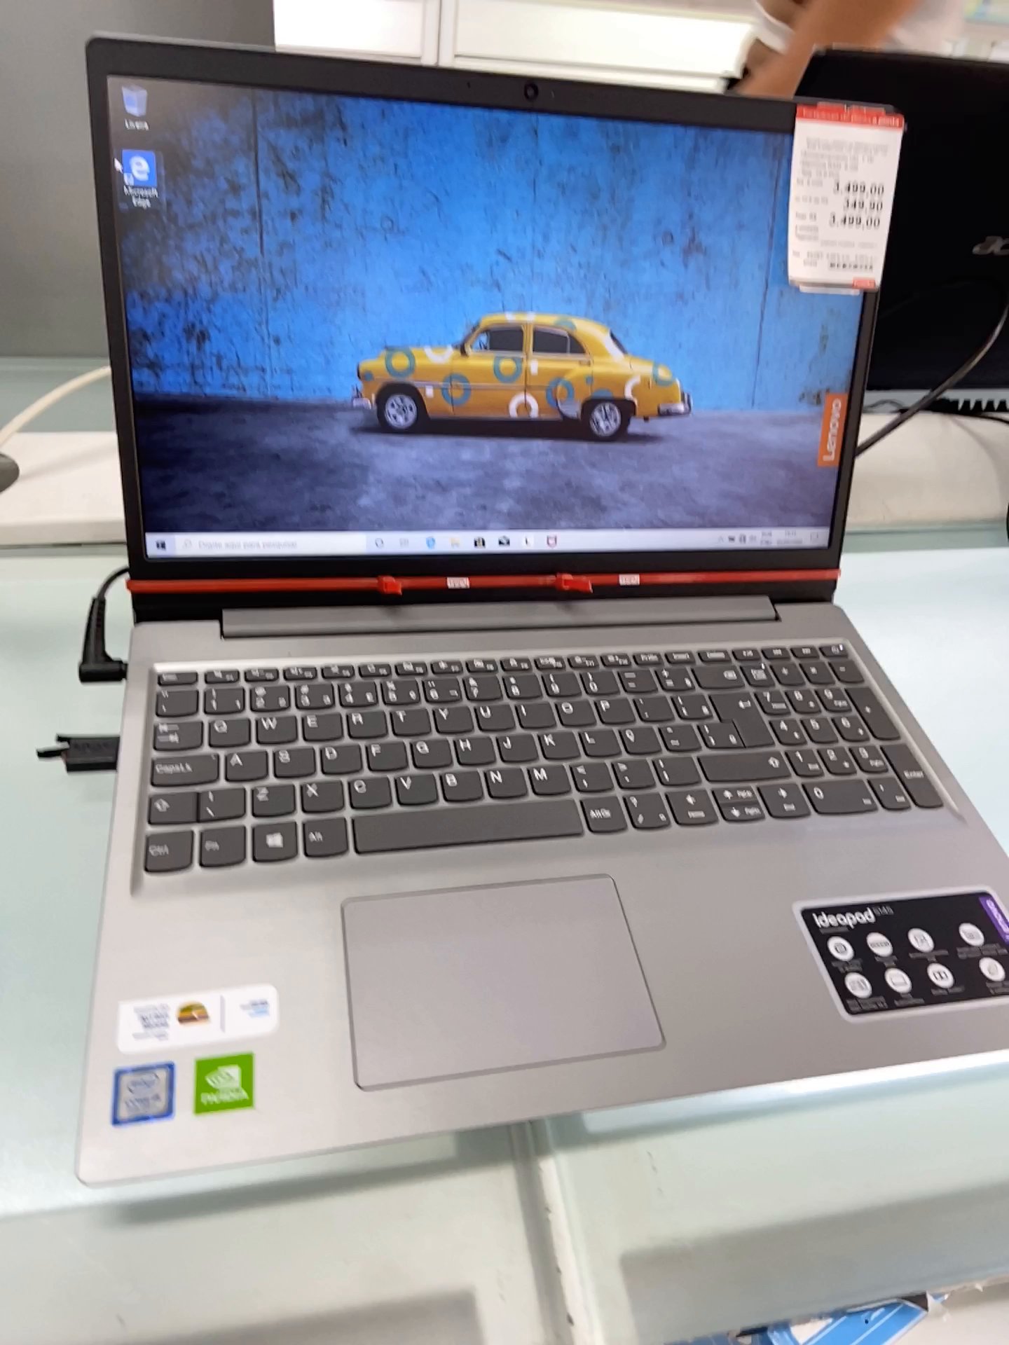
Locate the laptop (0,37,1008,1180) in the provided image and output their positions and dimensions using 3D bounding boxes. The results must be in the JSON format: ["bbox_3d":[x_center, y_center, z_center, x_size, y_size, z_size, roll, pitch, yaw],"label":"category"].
[{"bbox_3d":[0.029,-0.059,0.397,0.364,0.214,0.353,-3,43,-12],"label":"laptop"}]
